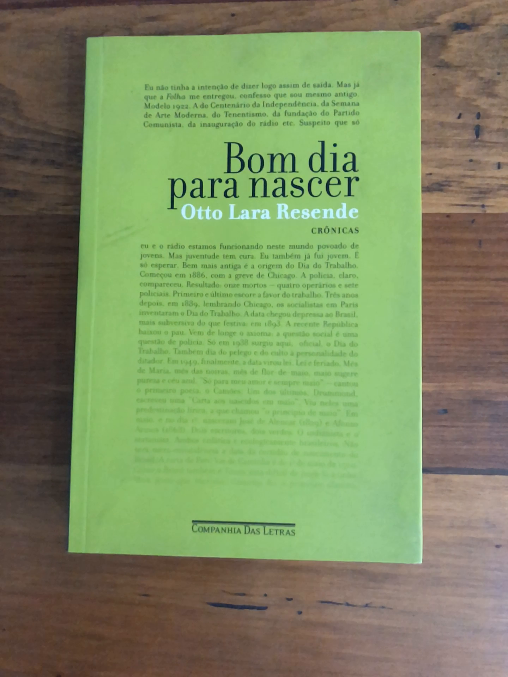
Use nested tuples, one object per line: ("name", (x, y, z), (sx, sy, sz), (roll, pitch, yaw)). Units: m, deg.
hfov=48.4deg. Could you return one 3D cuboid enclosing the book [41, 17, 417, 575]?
("book", (-0.008, -0.020, 0.227), (0.136, 0.030, 0.208), (1, 85, 3))
